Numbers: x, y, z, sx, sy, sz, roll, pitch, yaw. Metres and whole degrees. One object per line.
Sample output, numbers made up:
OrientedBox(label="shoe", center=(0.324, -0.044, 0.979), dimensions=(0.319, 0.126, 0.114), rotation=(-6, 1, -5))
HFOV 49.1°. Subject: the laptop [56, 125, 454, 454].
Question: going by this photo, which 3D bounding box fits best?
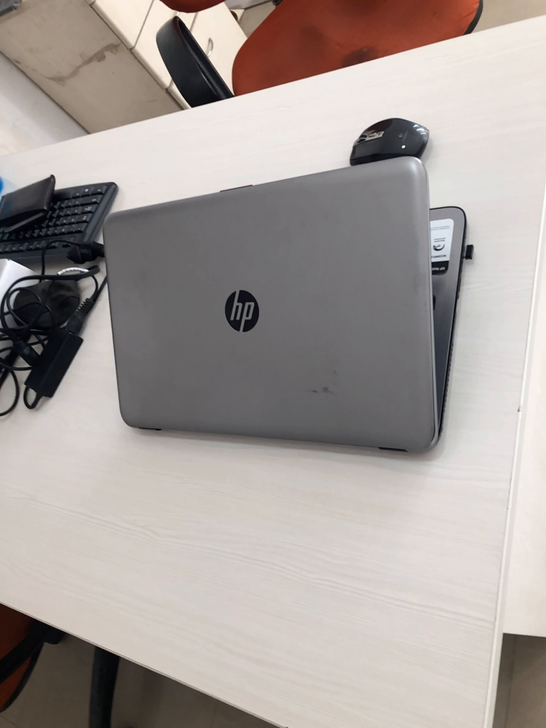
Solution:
OrientedBox(label="laptop", center=(-0.025, -0.062, 0.614), dimensions=(0.370, 0.120, 0.252), rotation=(0, 69, 34))
